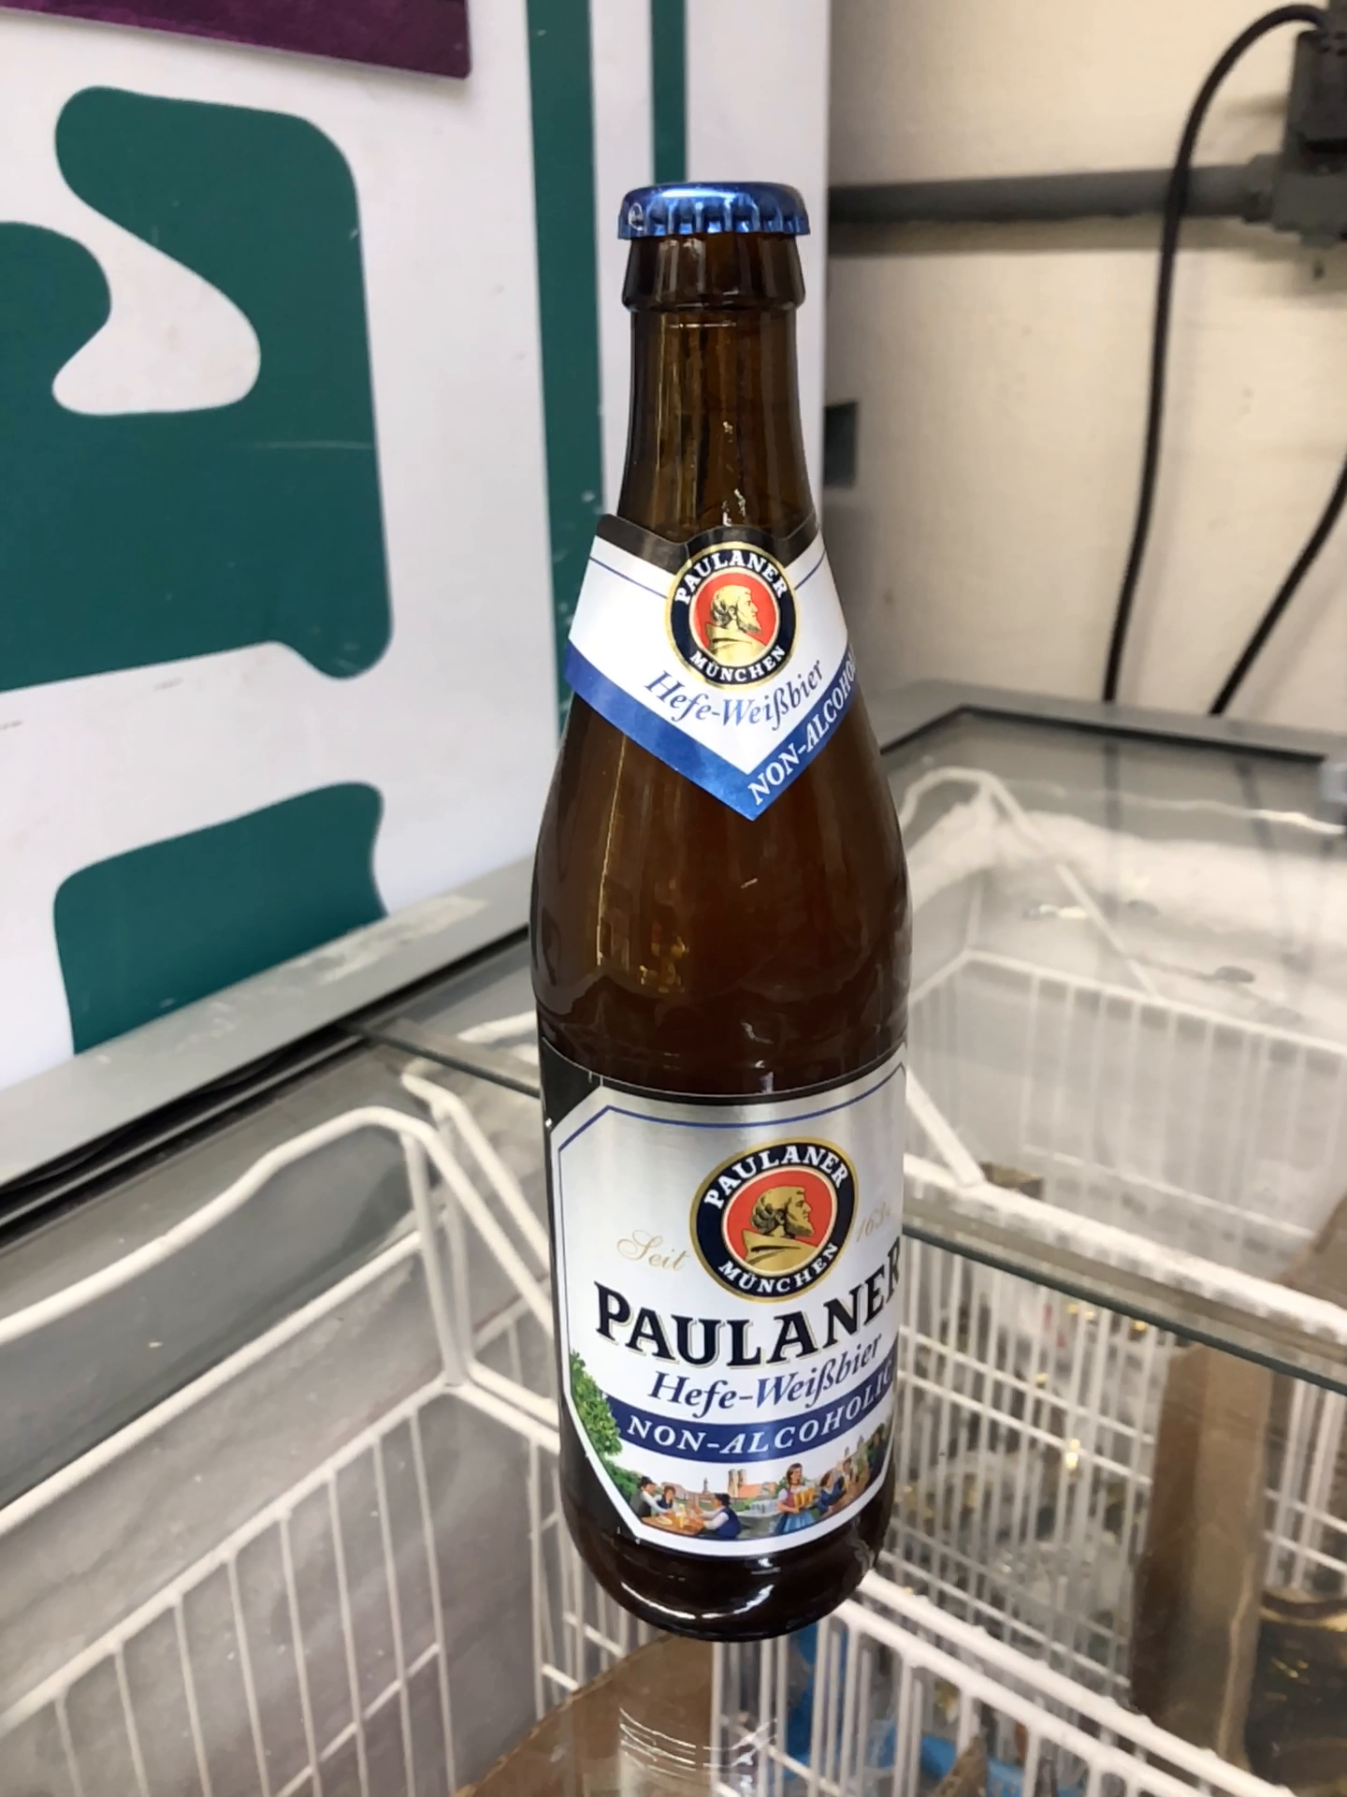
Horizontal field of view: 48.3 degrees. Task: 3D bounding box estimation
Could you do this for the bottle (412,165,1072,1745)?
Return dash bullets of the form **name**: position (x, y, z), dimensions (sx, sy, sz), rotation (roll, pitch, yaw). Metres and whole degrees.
- **bottle**: position (0.006, 0.015, 0.257), dimensions (0.080, 0.248, 0.070), rotation (-5, 21, -10)
